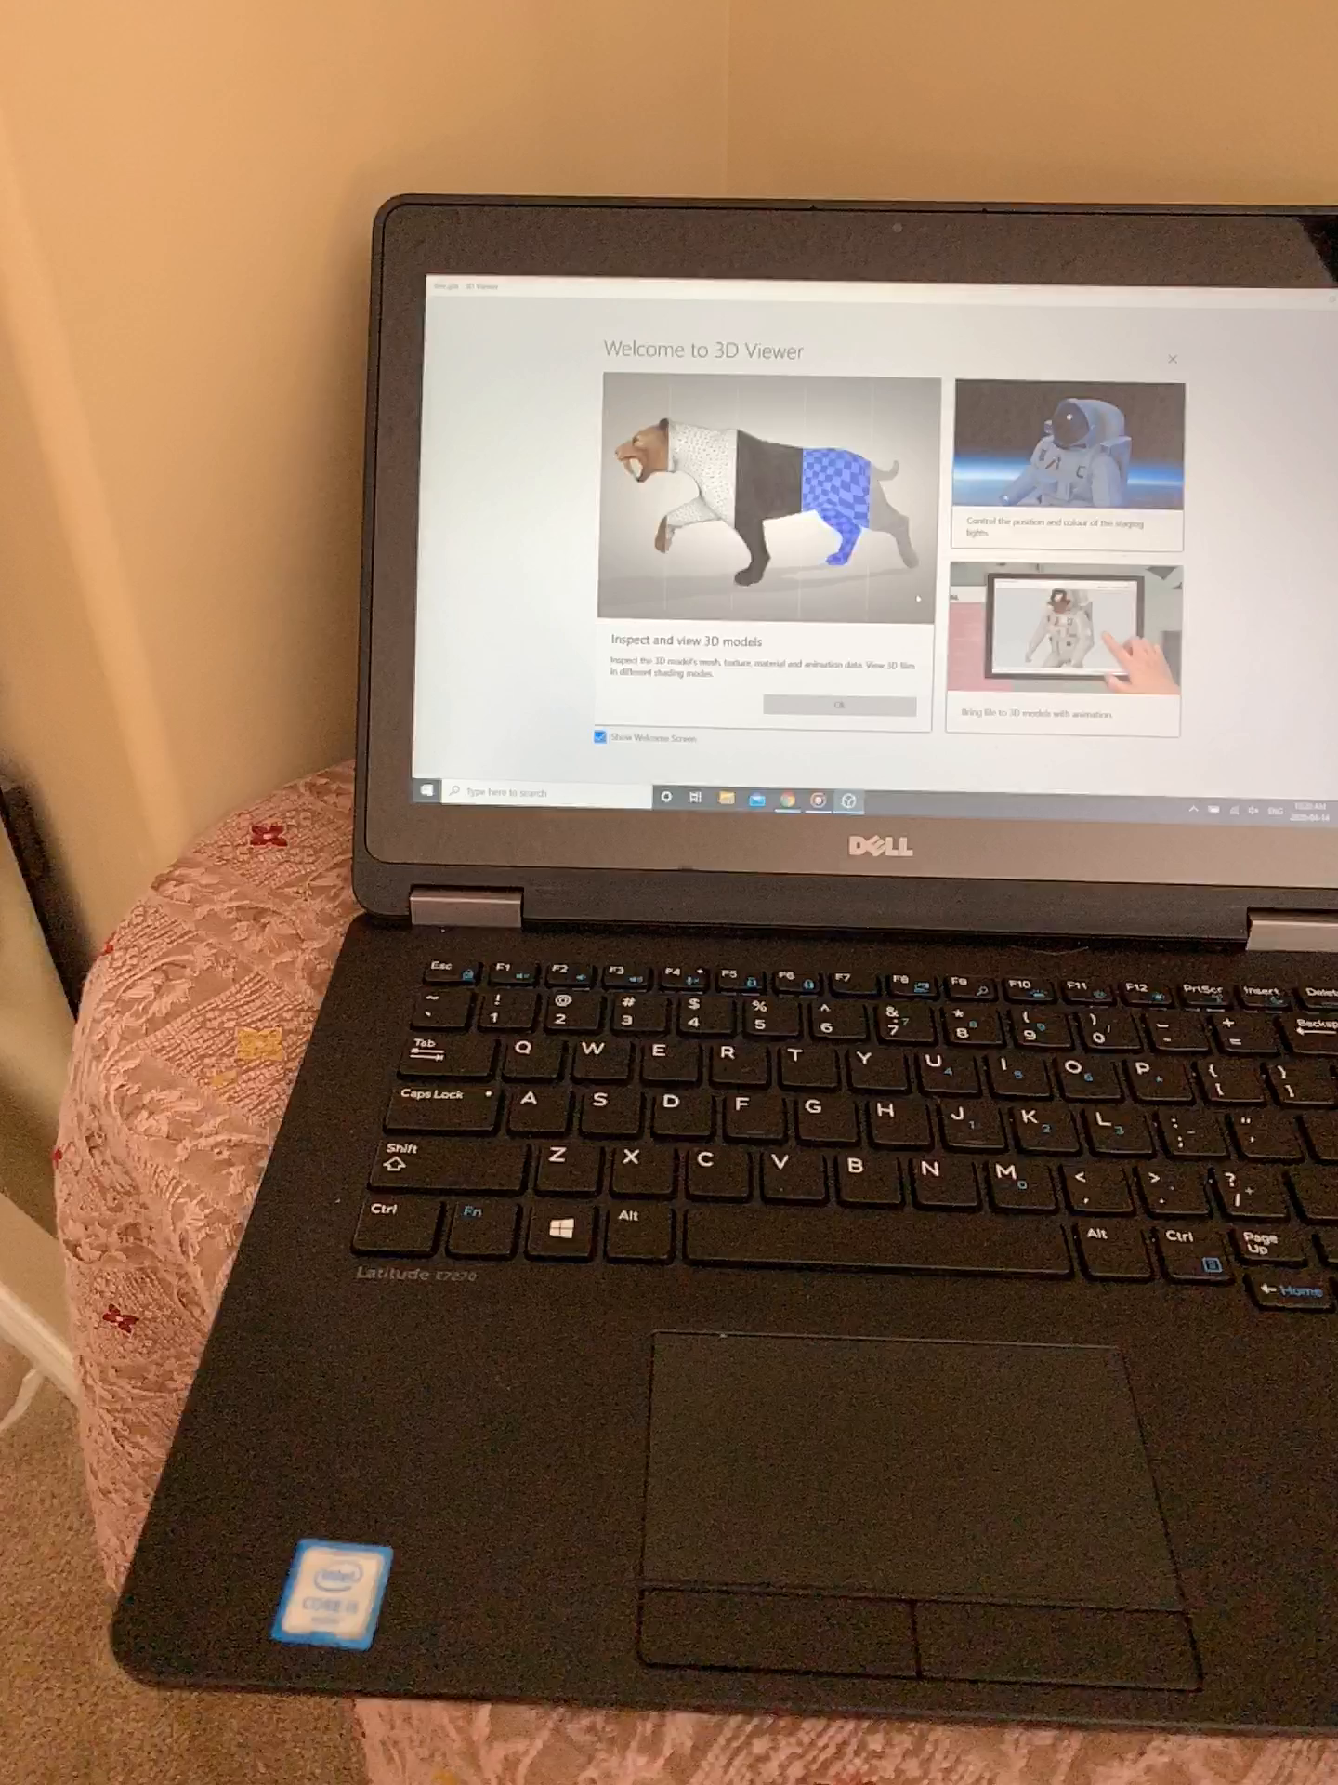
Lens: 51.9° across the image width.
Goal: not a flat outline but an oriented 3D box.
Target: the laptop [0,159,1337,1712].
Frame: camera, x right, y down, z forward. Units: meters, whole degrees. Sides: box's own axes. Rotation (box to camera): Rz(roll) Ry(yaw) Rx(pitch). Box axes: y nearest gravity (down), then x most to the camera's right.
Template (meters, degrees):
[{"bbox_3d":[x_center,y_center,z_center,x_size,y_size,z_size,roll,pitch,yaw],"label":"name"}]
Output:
[{"bbox_3d":[0.073,-0.046,0.390,0.365,0.186,0.424,1,41,2],"label":"laptop"}]
